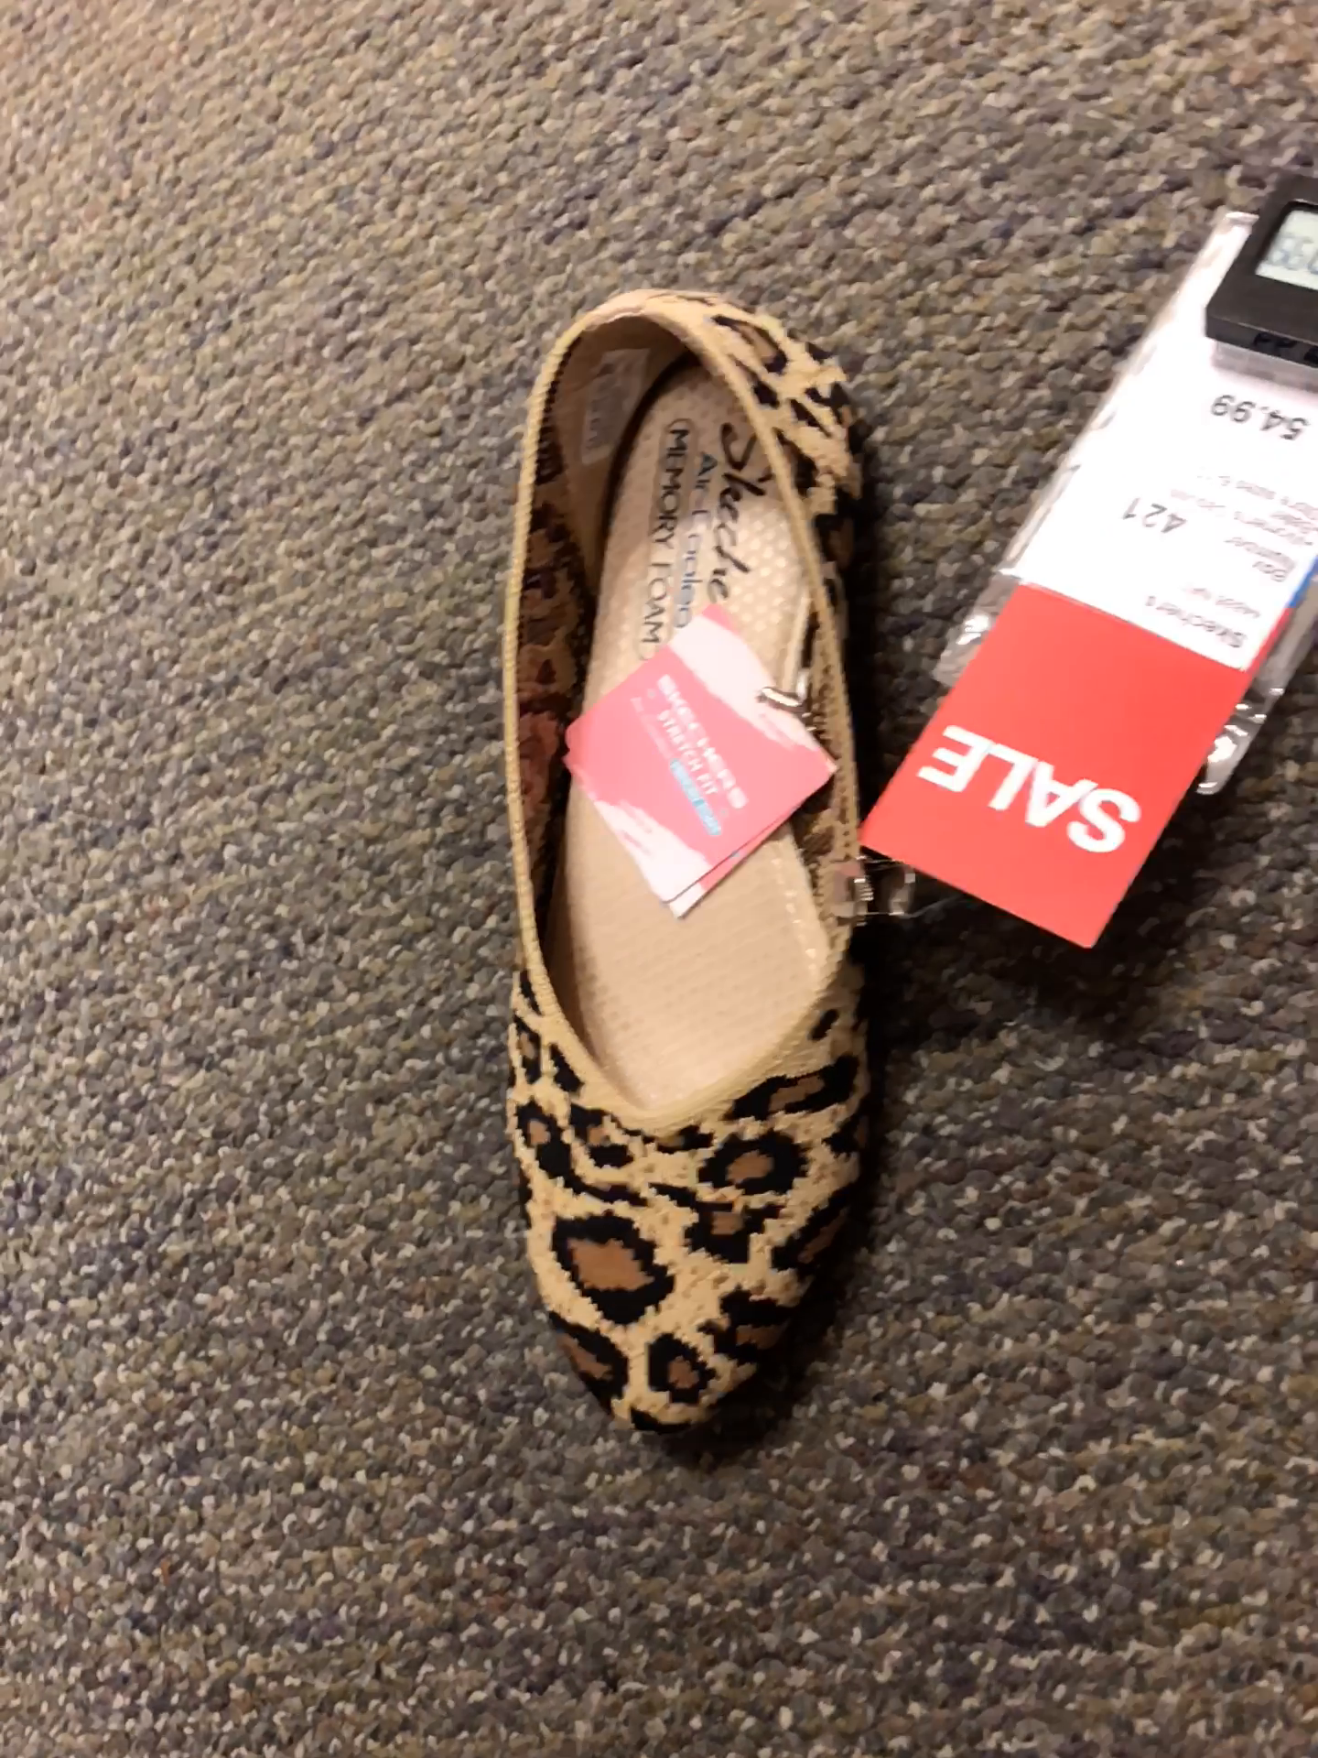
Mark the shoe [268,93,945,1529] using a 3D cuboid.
[{"bbox_3d":[-0.004,-0.013,0.316,0.105,0.085,0.253,-1,81,27],"label":"shoe"}]
